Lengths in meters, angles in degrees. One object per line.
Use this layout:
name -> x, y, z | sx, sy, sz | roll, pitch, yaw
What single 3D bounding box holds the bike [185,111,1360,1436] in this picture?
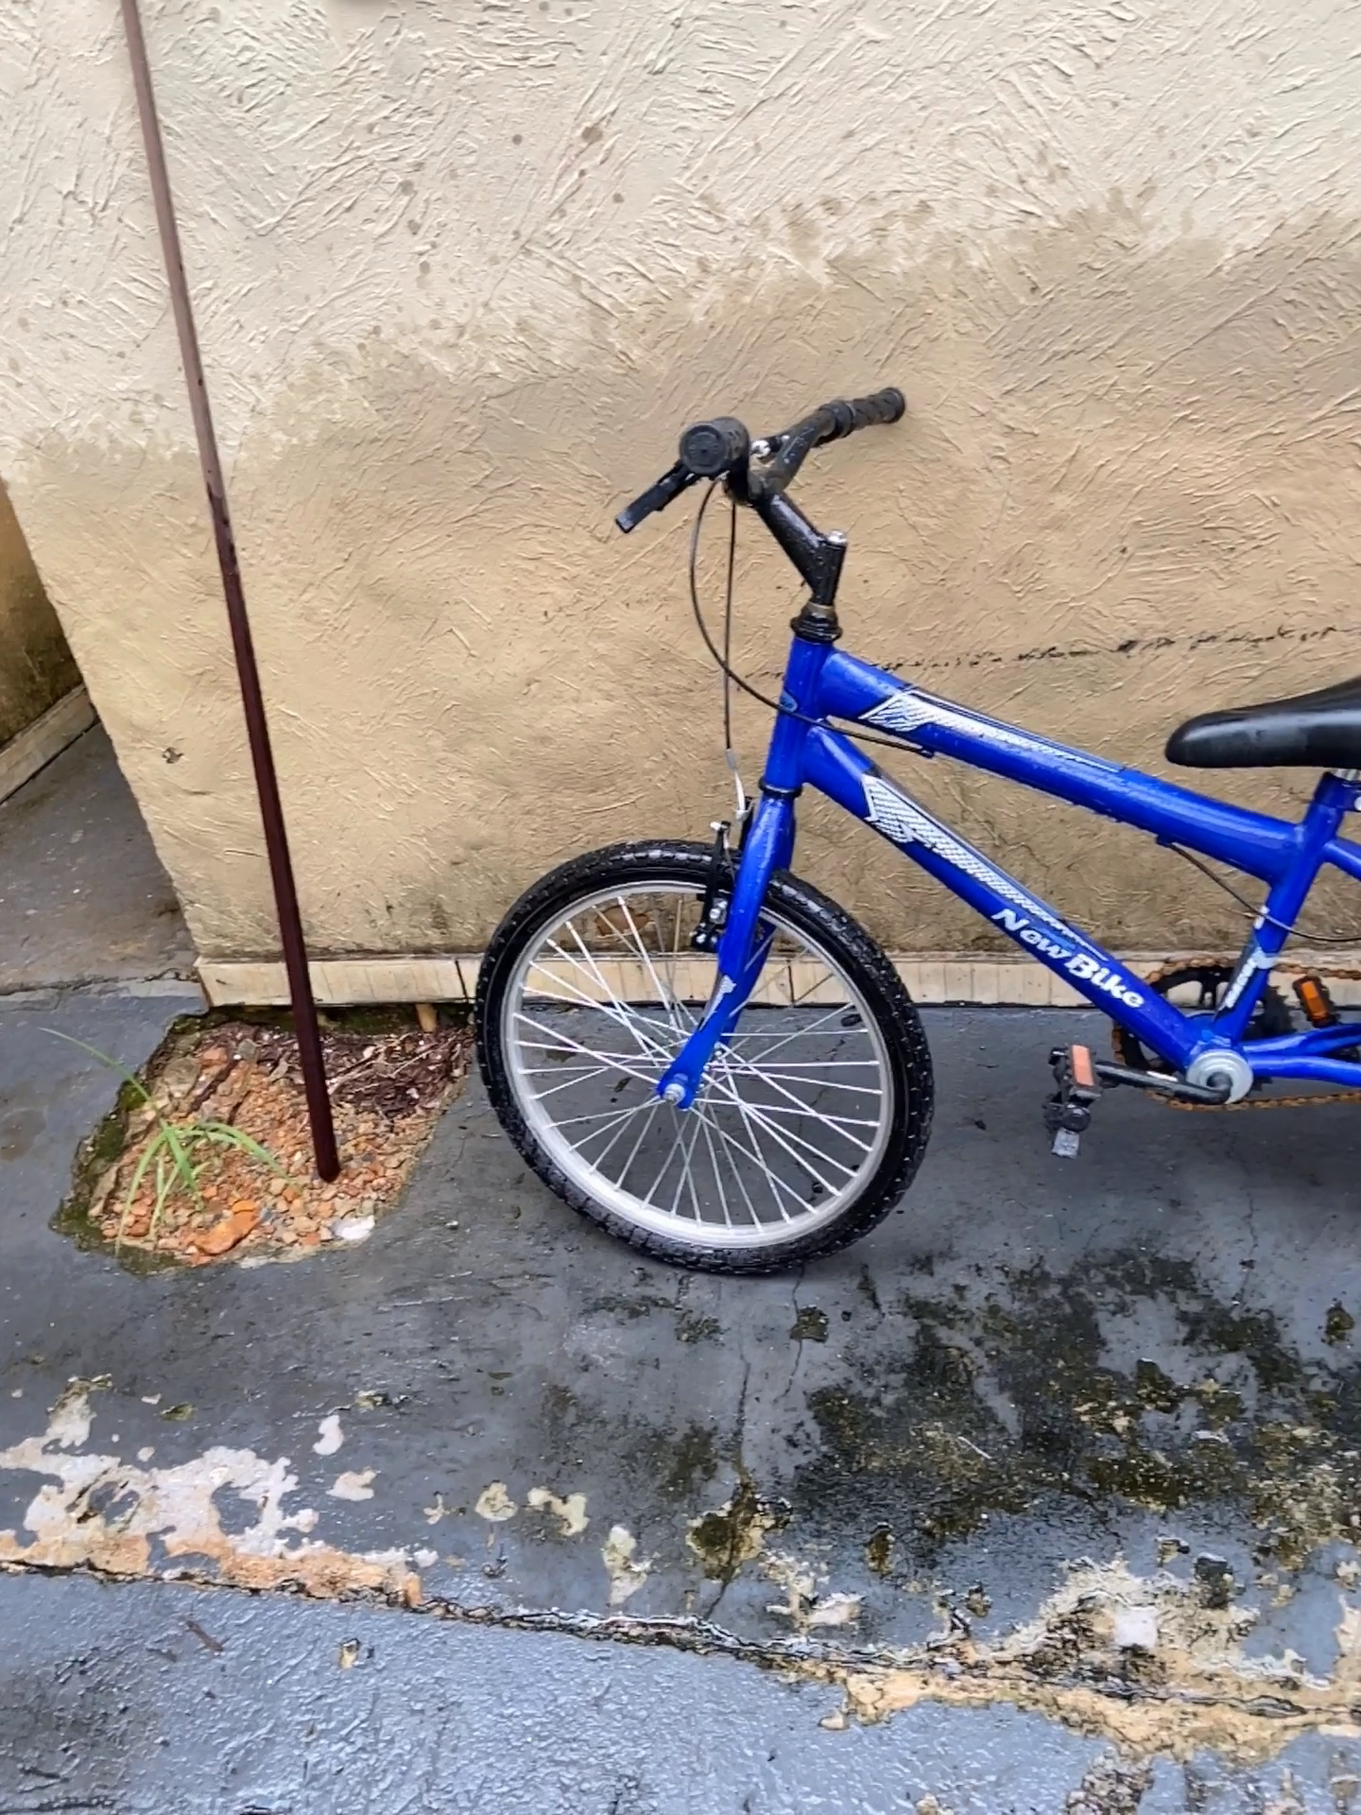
bike -> 0.399, -0.110, 1.188 | 1.249, 0.849, 0.546 | 0, 34, 12
